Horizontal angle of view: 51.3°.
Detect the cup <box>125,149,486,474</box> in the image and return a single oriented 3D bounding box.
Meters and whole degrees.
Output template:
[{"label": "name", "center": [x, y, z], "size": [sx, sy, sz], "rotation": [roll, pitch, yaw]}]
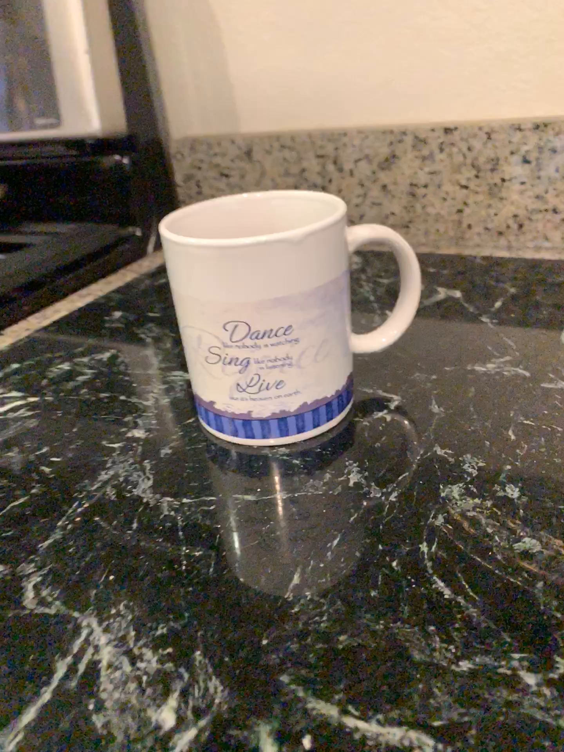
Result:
[{"label": "cup", "center": [0.007, -0.037, 0.269], "size": [0.130, 0.099, 0.091], "rotation": [-13, 29, -11]}]
